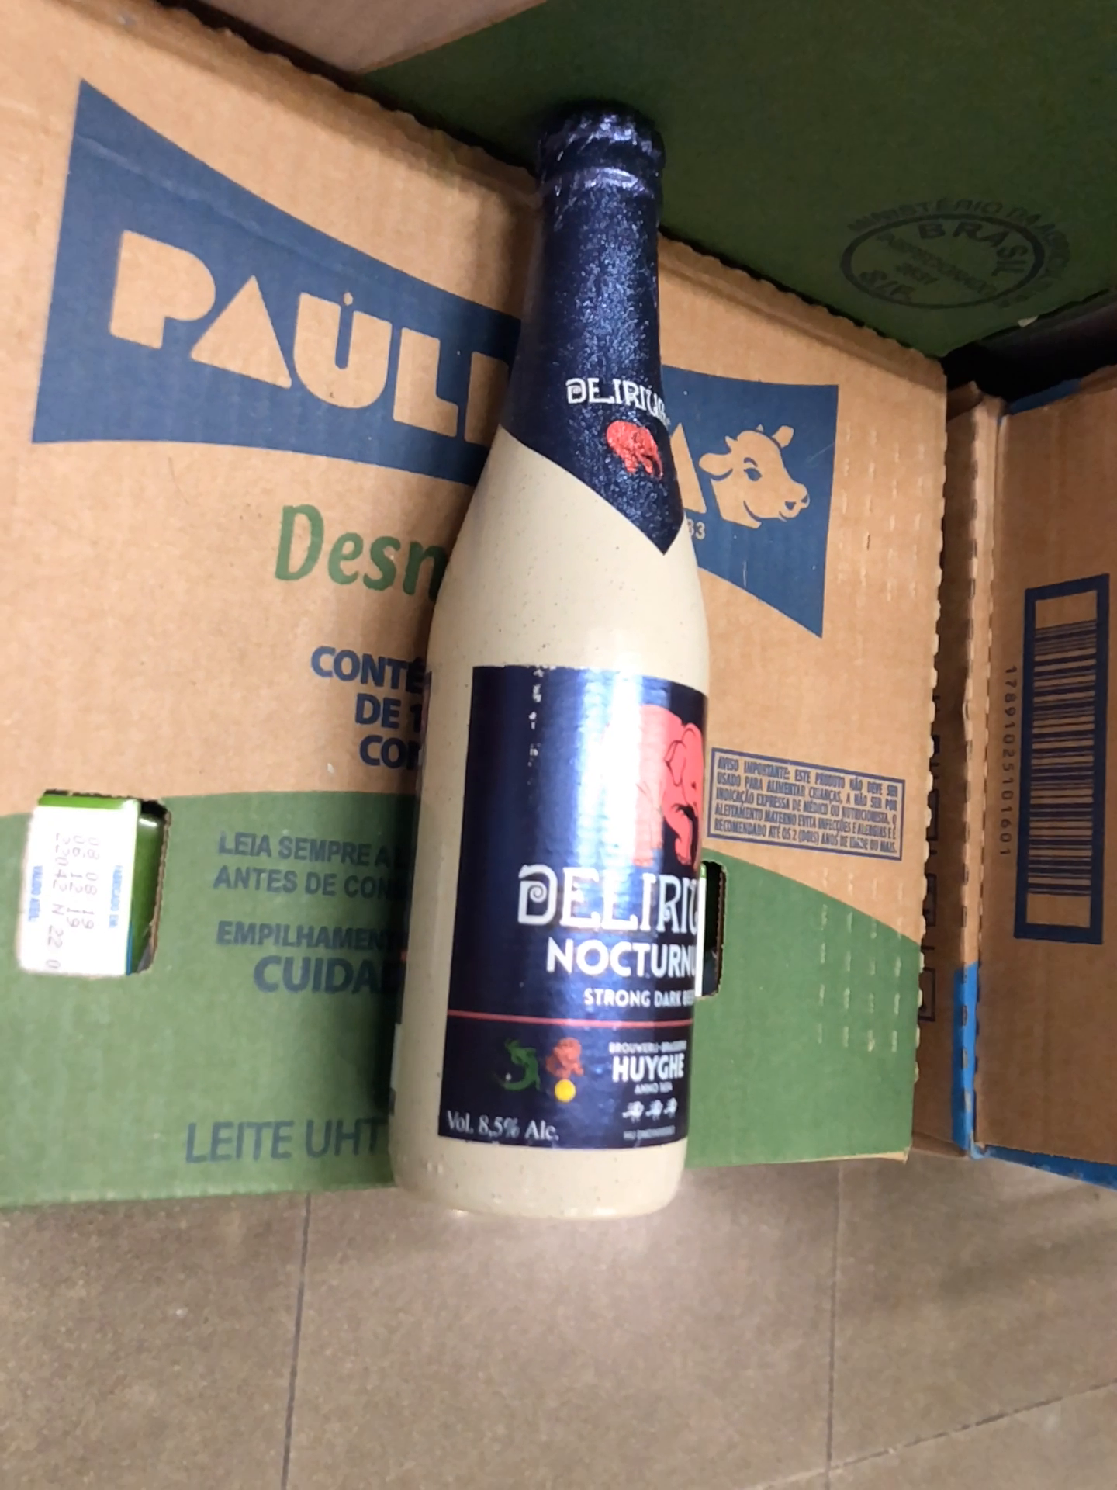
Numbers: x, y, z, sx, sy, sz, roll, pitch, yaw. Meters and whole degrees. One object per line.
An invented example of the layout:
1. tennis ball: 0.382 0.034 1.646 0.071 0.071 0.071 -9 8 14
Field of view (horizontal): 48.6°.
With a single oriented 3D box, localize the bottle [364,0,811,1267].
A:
1. bottle: 0.009 -0.035 0.251 0.060 0.050 0.250 9 80 -34
